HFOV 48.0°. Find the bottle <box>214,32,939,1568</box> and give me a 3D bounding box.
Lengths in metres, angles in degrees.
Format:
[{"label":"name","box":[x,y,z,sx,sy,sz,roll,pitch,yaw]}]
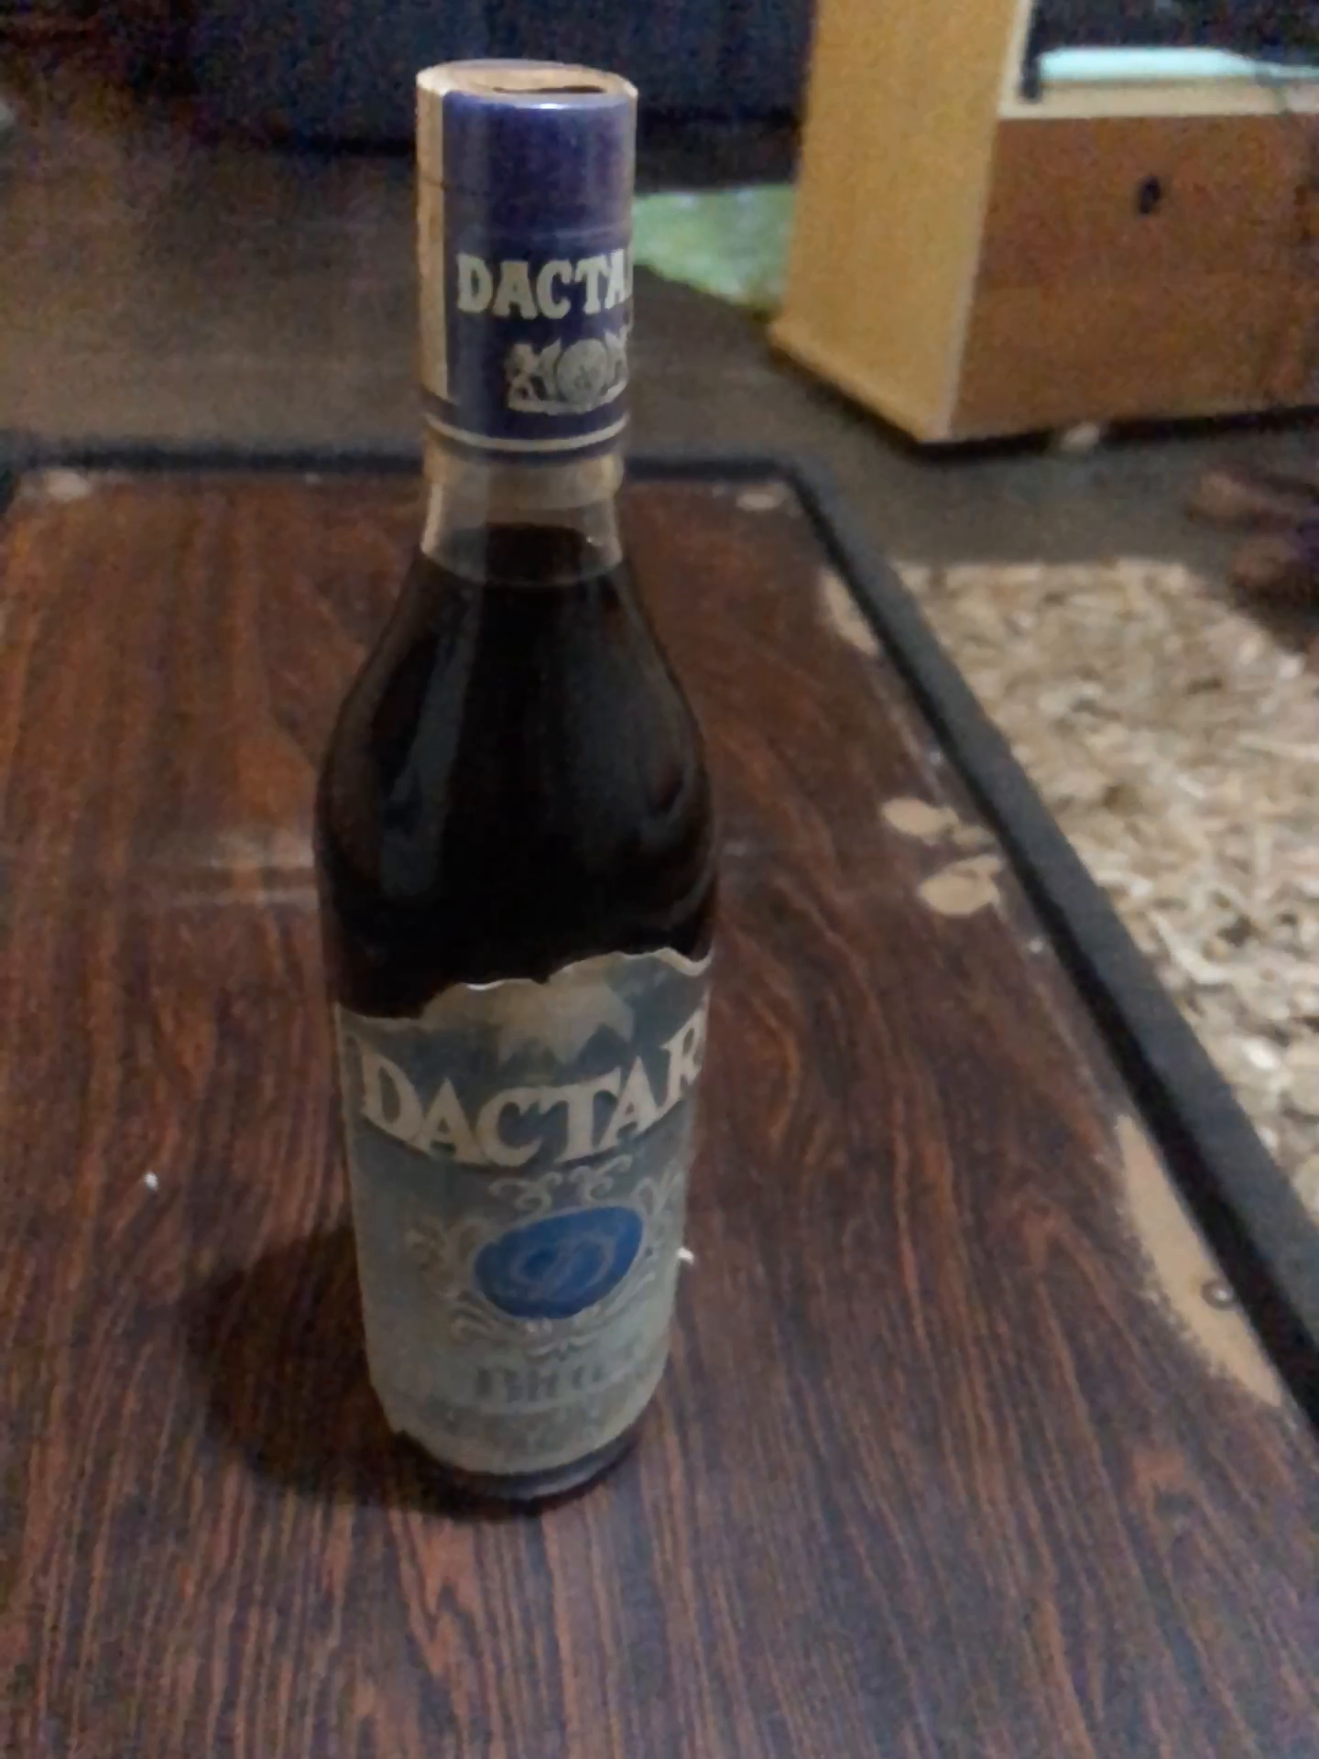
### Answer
[{"label":"bottle","box":[-0.027,0.009,0.304,0.090,0.308,0.080,-6,37,-14]}]
